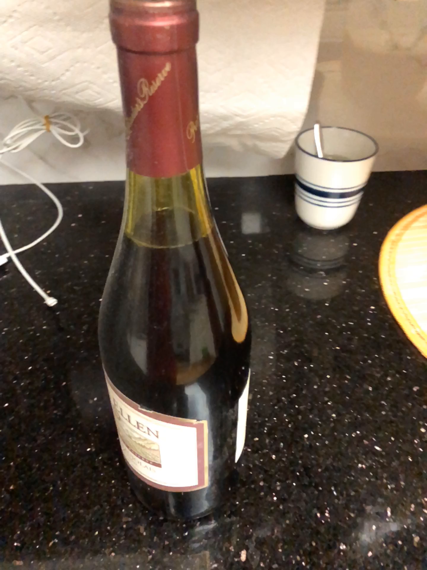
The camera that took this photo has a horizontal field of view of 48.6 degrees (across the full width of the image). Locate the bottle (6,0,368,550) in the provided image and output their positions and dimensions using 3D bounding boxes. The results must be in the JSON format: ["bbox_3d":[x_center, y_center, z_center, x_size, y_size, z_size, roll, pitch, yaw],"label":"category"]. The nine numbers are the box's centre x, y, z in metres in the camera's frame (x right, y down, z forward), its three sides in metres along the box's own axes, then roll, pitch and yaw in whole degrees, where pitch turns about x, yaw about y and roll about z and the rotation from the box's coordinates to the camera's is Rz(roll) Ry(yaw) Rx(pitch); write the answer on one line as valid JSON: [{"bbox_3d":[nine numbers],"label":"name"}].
[{"bbox_3d":[-0.015,0.017,0.248,0.090,0.288,0.090,0,41,0],"label":"bottle"}]
